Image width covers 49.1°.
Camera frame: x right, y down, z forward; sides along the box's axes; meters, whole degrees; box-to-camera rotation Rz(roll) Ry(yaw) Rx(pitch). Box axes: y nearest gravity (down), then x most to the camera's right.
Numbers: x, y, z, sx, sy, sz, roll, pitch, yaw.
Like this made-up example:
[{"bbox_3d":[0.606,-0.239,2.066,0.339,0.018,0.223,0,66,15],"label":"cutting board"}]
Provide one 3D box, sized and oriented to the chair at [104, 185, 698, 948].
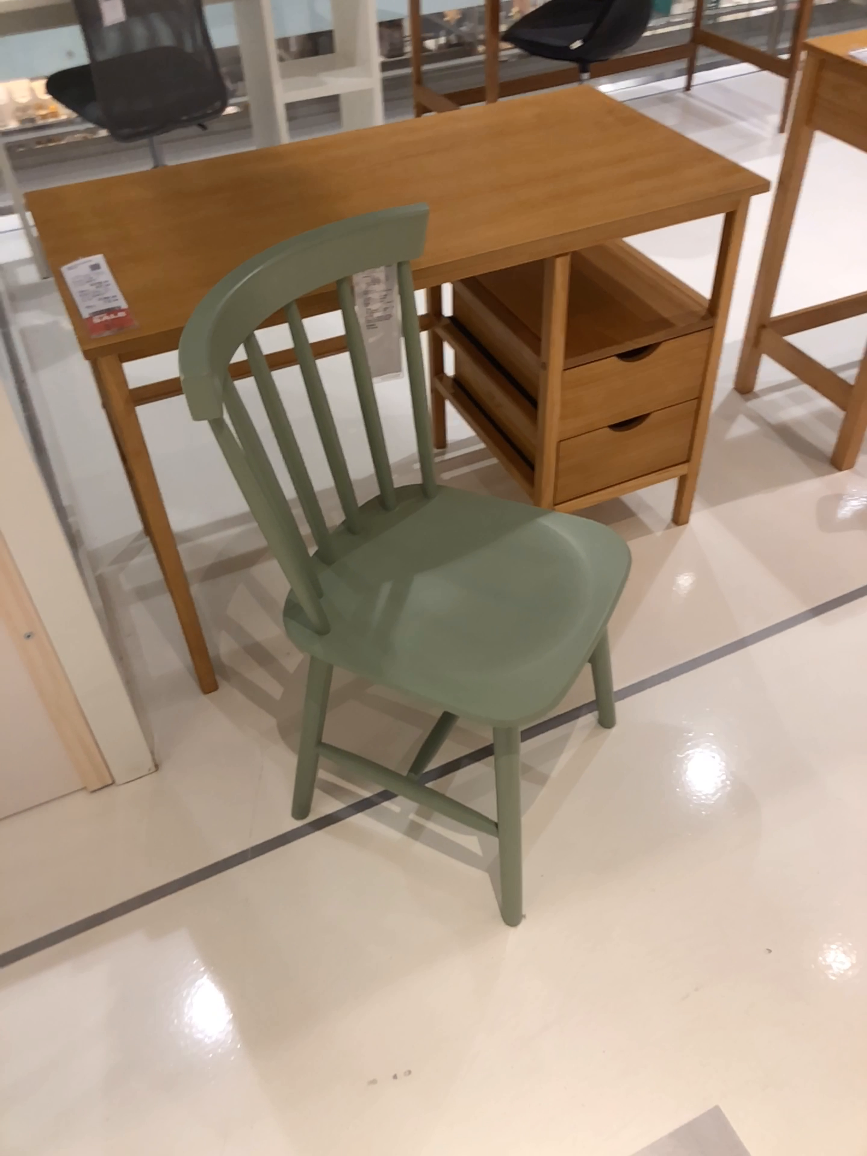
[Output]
[{"bbox_3d":[0.000,0.010,1.274,0.461,0.834,0.453,18,47,21],"label":"chair"}]
